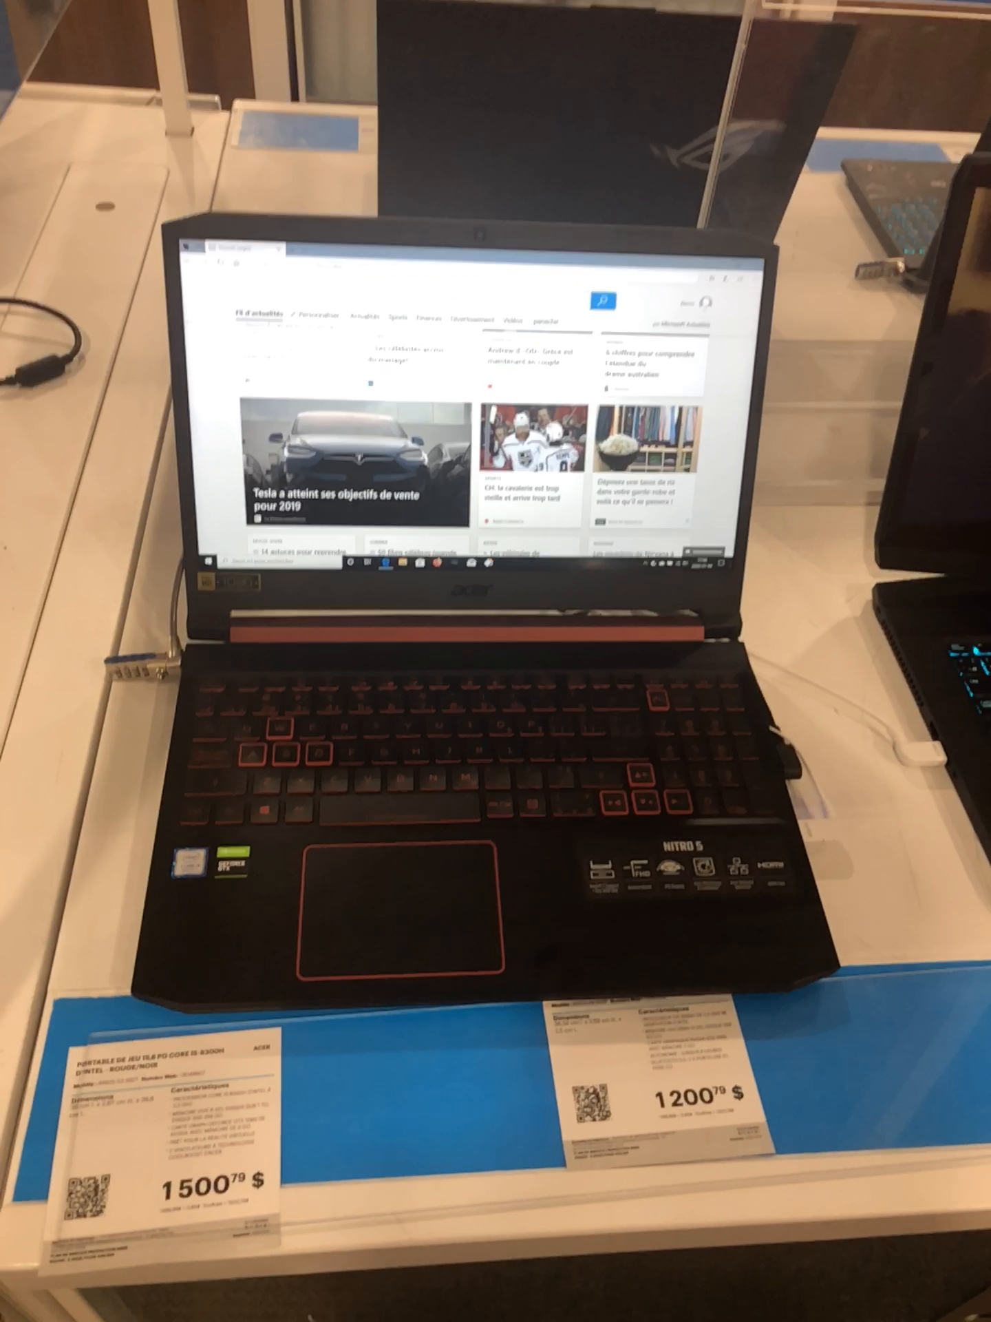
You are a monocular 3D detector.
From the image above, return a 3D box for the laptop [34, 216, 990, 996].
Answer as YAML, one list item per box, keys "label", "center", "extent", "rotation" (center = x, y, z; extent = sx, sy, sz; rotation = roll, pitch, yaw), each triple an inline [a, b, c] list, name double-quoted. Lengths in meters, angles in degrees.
- label: "laptop"
  center: [-0.003, -0.045, 0.590]
  extent: [0.357, 0.211, 0.360]
  rotation: [-1, 49, -6]
